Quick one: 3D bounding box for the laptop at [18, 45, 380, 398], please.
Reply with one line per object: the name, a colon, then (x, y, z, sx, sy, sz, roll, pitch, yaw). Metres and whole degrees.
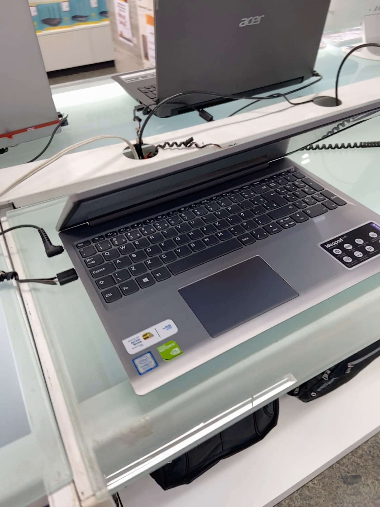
laptop: (0.054, -0.076, 0.412, 0.362, 0.160, 0.246, -22, 45, -21)
